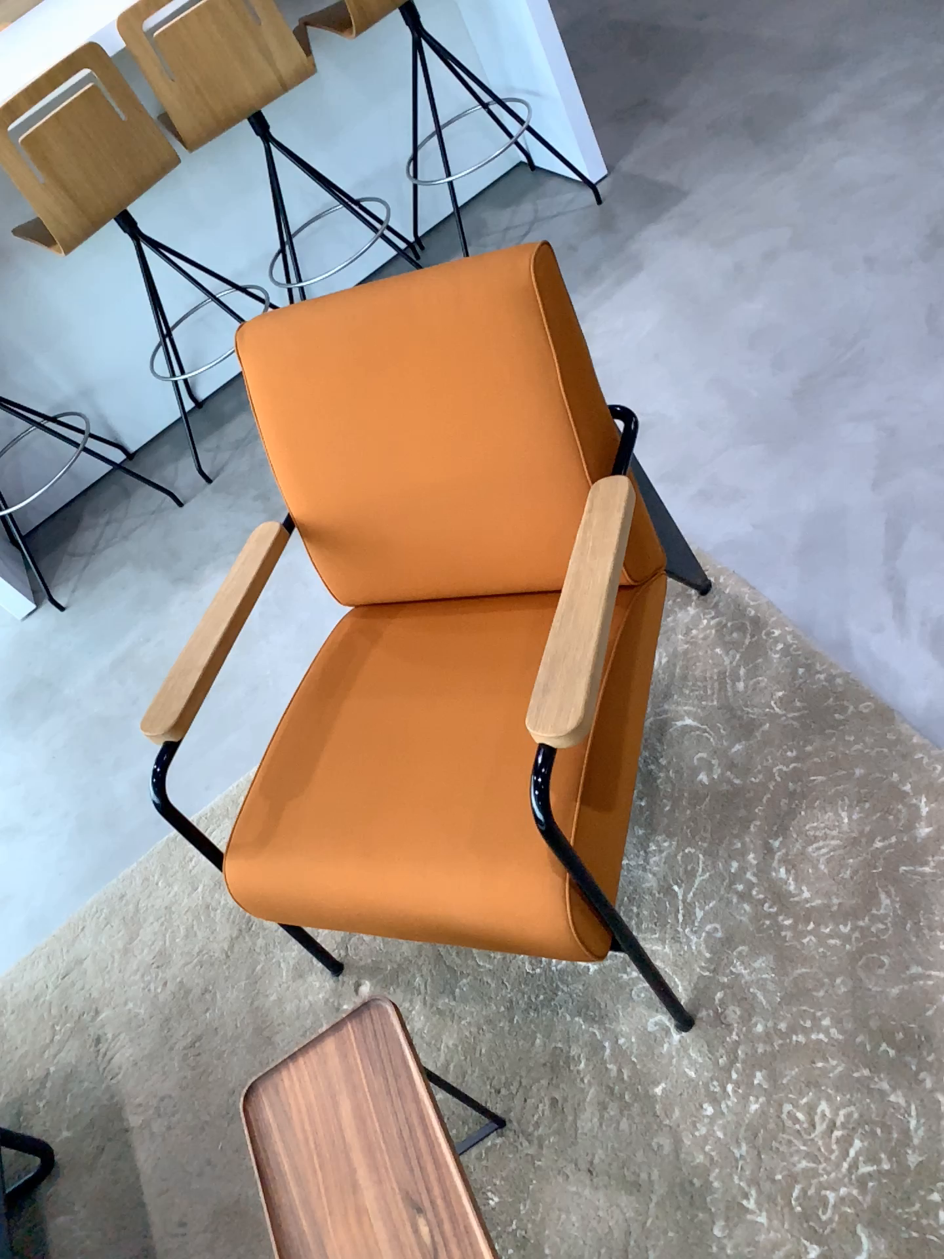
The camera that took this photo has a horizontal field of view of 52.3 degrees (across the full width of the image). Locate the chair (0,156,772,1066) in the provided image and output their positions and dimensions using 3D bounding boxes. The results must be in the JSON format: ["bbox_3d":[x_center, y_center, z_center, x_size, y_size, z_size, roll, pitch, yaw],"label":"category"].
[{"bbox_3d":[-0.059,0.001,1.374,0.732,0.734,0.864,-3,52,29],"label":"chair"}]
